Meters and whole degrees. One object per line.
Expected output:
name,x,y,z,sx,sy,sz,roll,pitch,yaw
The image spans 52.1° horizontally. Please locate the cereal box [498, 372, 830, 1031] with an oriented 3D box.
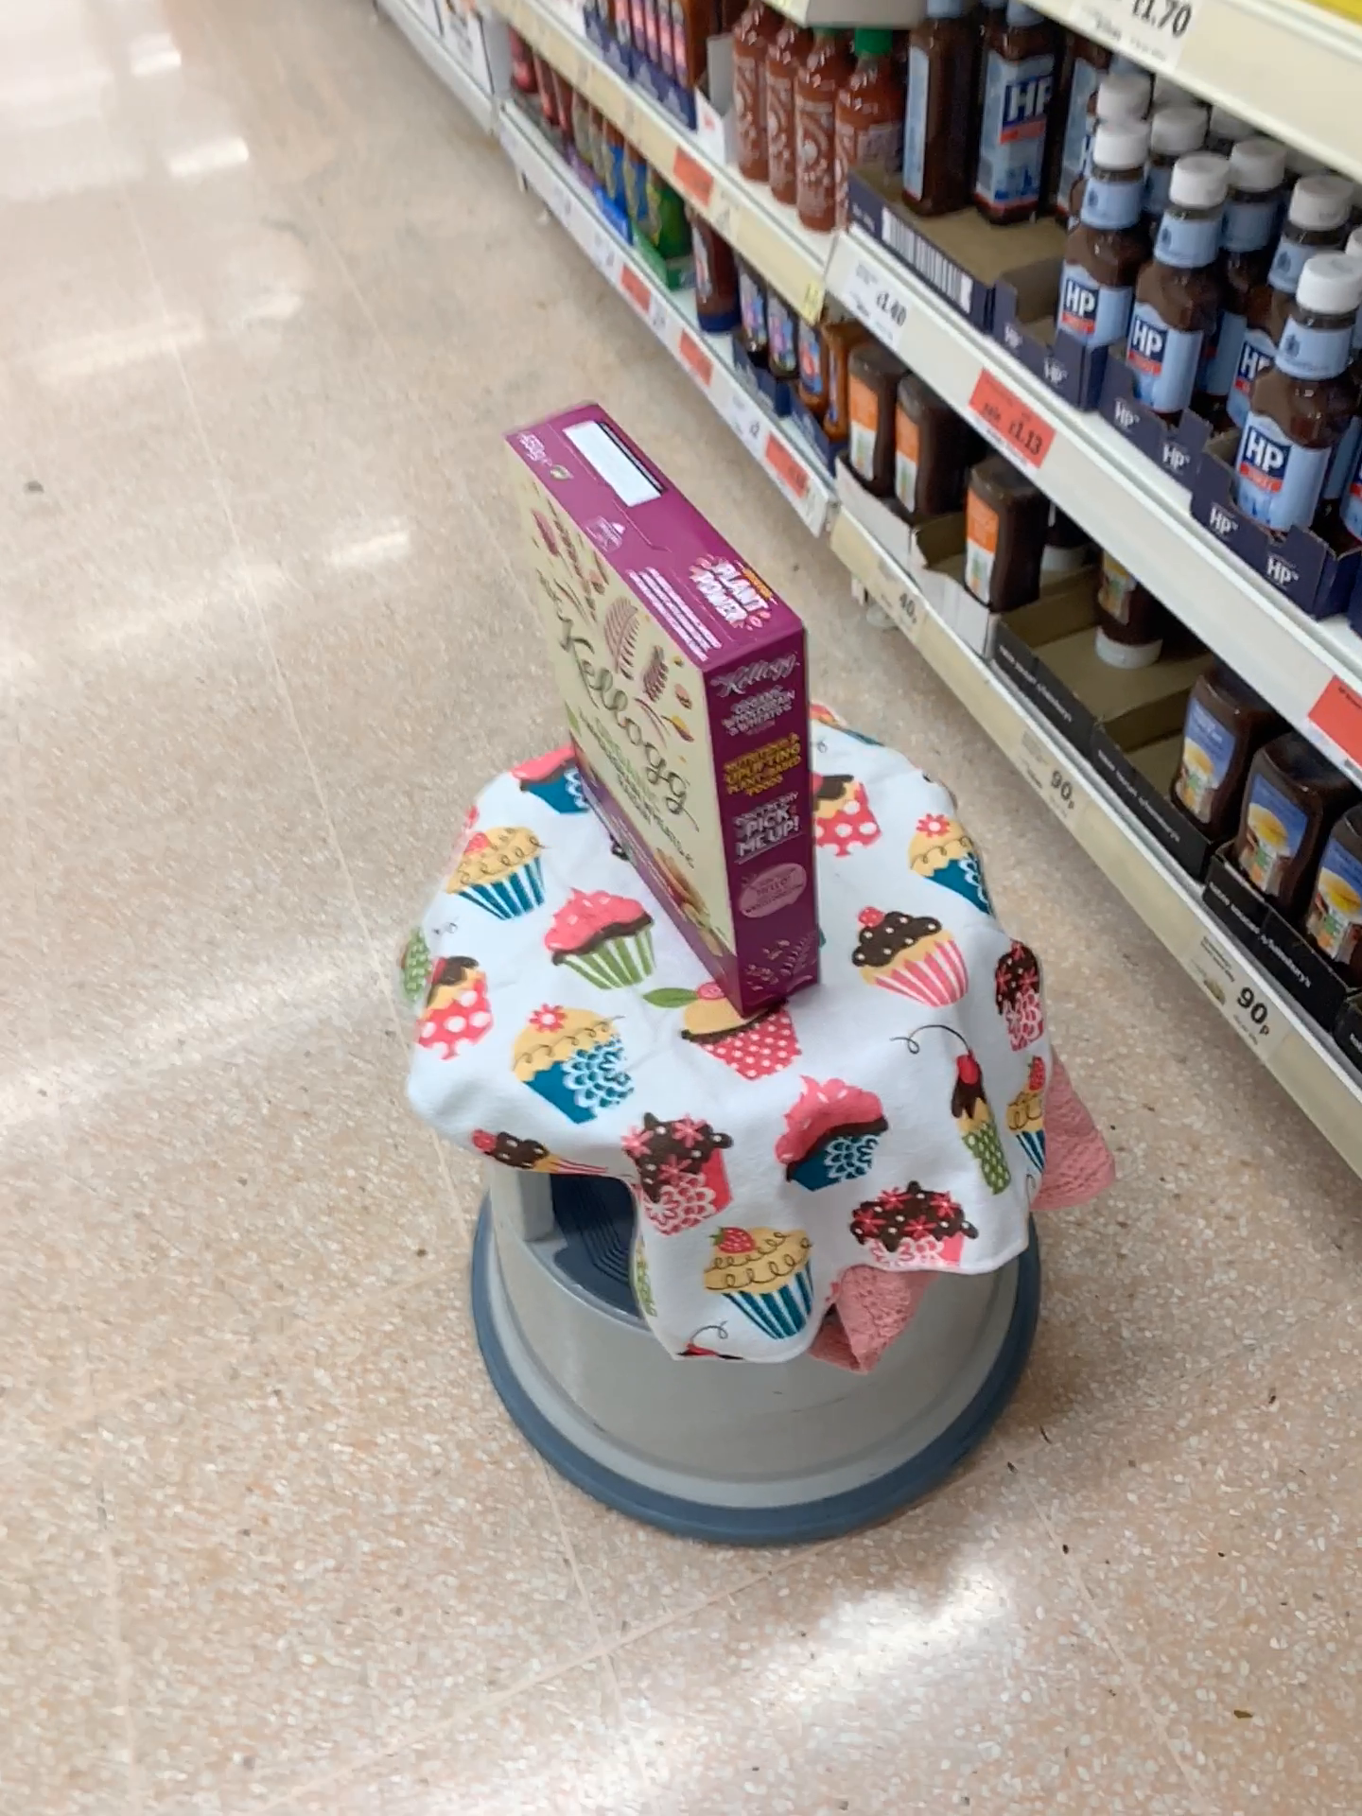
cereal box,-0.004,-0.094,0.673,0.050,0.248,0.202,-24,51,-13
